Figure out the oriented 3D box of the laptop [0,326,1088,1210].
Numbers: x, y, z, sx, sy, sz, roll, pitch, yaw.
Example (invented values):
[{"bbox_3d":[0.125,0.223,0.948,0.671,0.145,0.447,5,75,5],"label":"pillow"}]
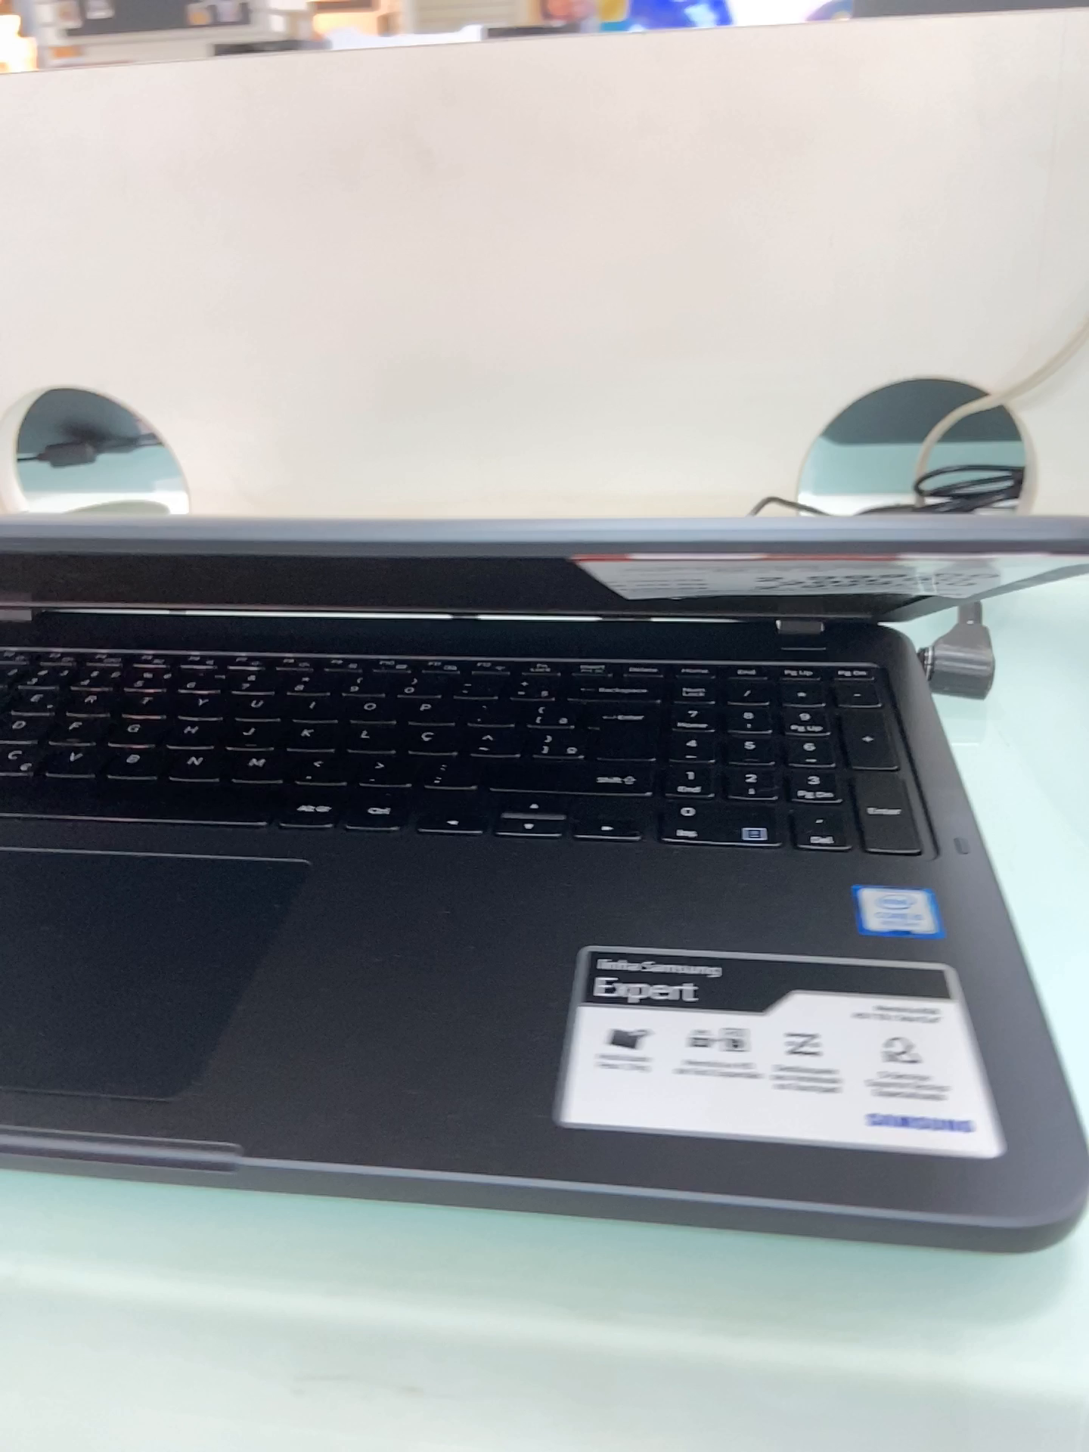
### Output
[{"bbox_3d":[-0.080,-0.024,0.293,0.376,0.101,0.234,1,29,8],"label":"laptop"}]
